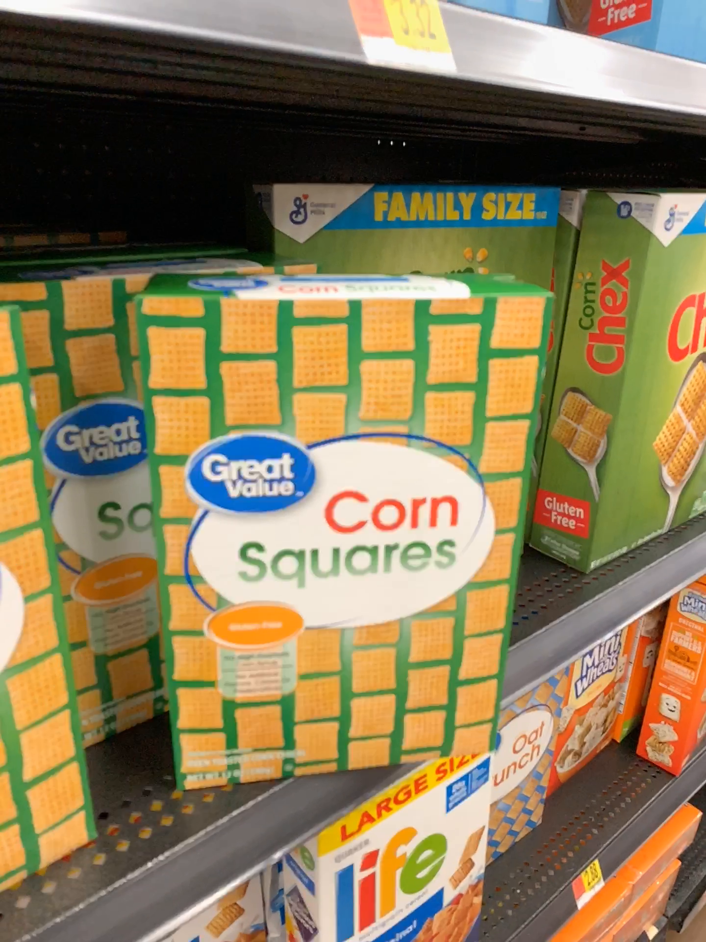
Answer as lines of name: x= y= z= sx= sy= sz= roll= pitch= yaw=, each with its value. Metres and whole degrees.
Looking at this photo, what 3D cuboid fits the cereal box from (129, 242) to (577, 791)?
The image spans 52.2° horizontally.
cereal box: x=-0.007 y=0.029 z=0.402 sx=0.200 sy=0.289 sz=0.070 roll=-2 pitch=23 yaw=-11
